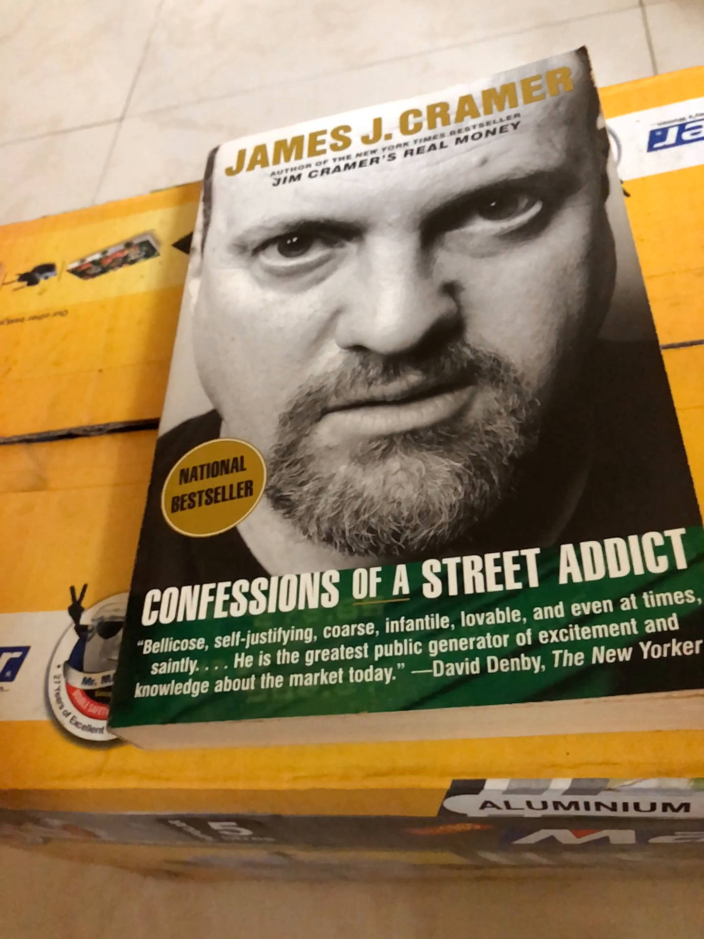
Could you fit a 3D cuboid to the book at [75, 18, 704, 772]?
[{"bbox_3d":[0.013,-0.038,0.232,0.140,0.030,0.230,-8,56,14],"label":"book"}]
